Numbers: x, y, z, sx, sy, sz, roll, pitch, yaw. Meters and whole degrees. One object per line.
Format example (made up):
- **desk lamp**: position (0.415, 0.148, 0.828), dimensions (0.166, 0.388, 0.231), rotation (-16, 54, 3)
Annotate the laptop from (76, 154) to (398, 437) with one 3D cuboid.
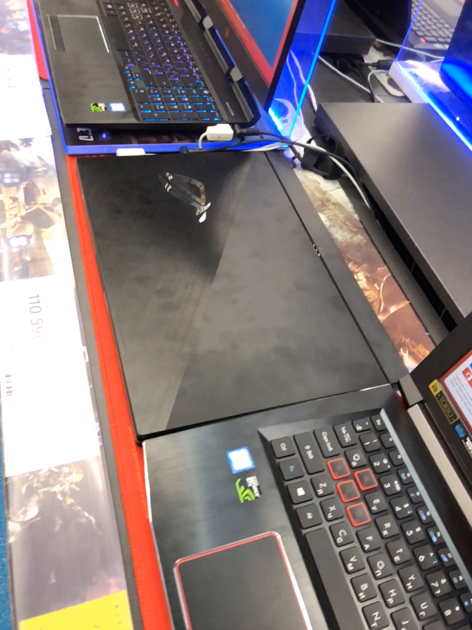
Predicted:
- **laptop**: position (-0.017, -0.057, 0.548), dimensions (0.254, 0.006, 0.349), rotation (-8, 55, -18)
